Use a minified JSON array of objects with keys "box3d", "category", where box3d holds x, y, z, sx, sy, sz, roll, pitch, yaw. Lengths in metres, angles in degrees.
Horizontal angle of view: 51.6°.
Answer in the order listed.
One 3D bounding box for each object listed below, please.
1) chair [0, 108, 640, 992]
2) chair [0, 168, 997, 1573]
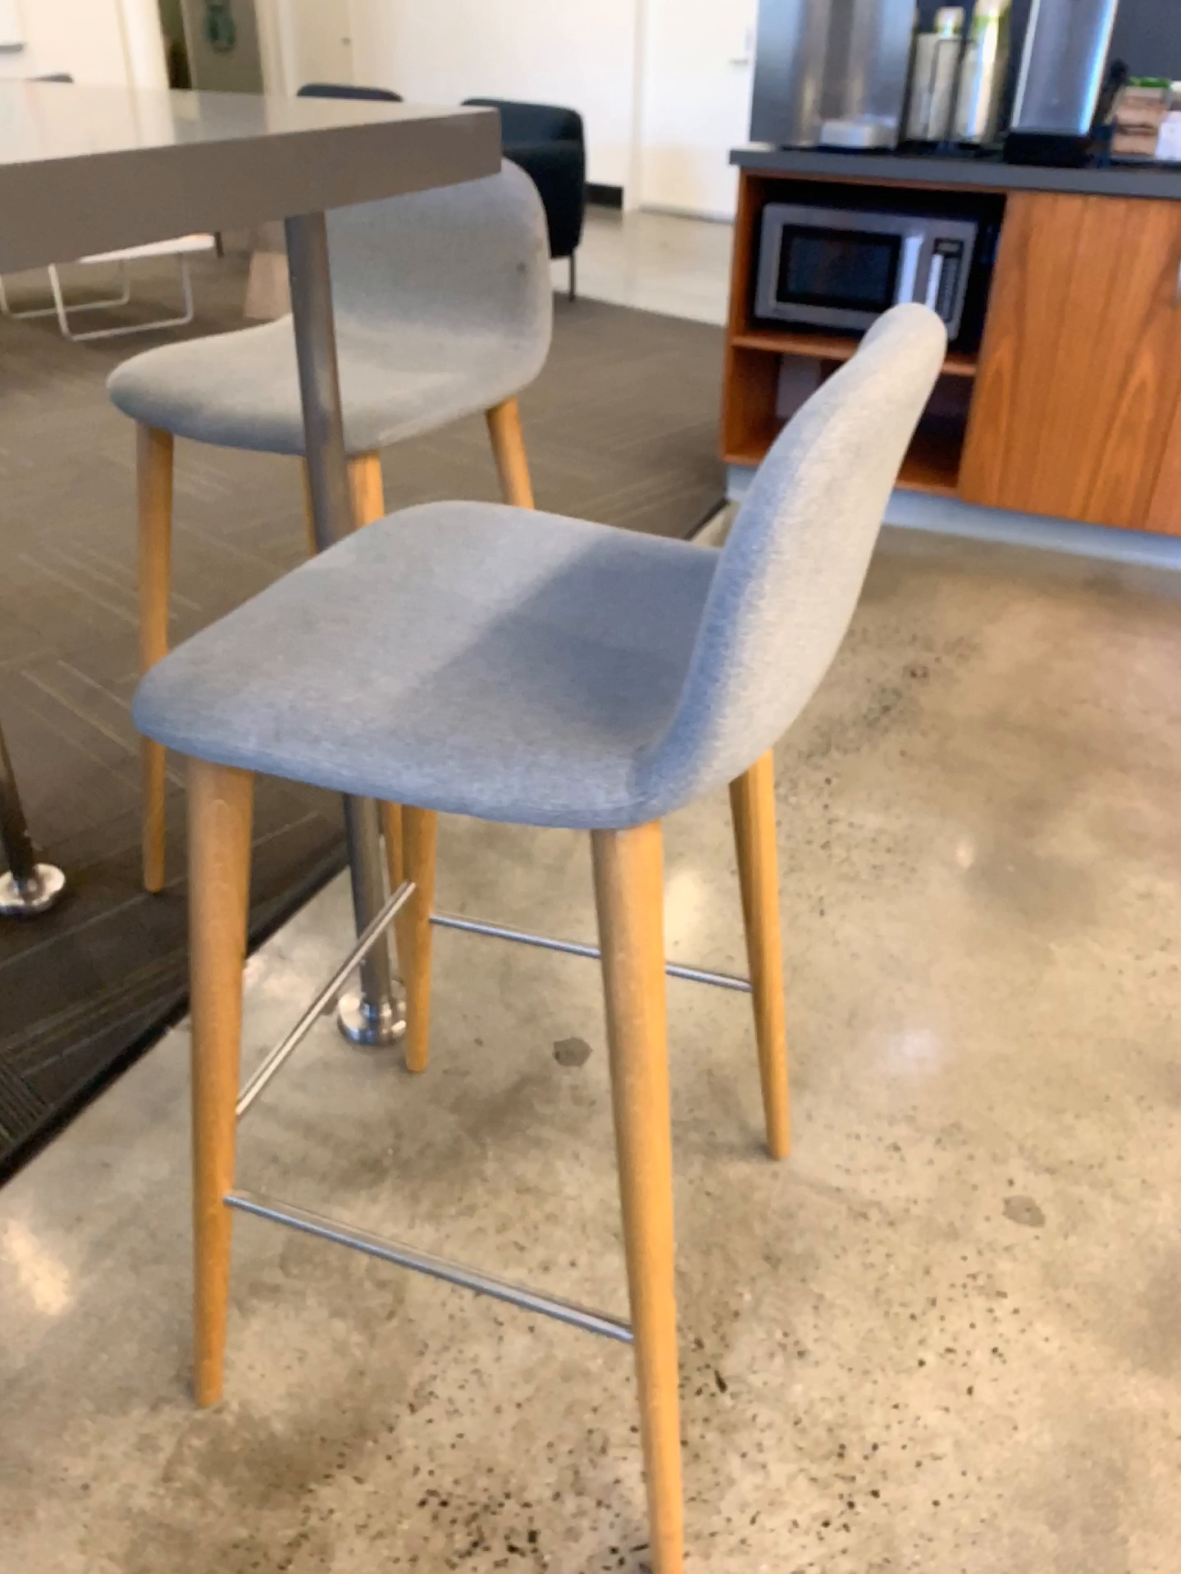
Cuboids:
[{"box3d":[-0.391,-0.362,1.697,0.711,0.964,0.542,17,35,23],"category":"chair"},{"box3d":[-0.054,0.058,1.033,0.541,0.964,0.593,12,33,16],"category":"chair"}]
